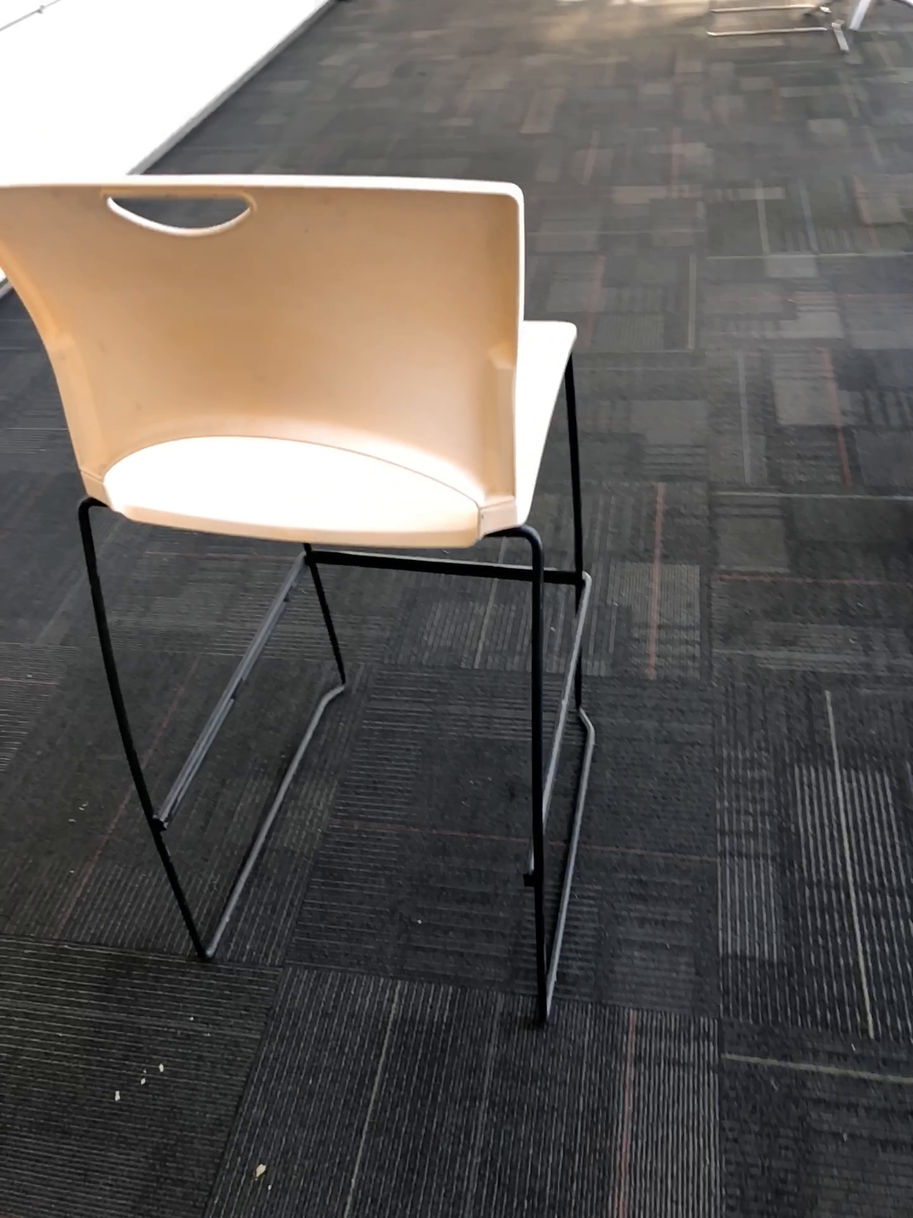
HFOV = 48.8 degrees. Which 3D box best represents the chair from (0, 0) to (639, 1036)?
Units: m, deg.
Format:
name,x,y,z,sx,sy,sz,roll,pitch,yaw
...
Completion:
name,x,y,z,sx,sy,sz,roll,pitch,yaw
chair,-0.114,-0.107,1.256,0.581,0.995,0.723,5,42,14
